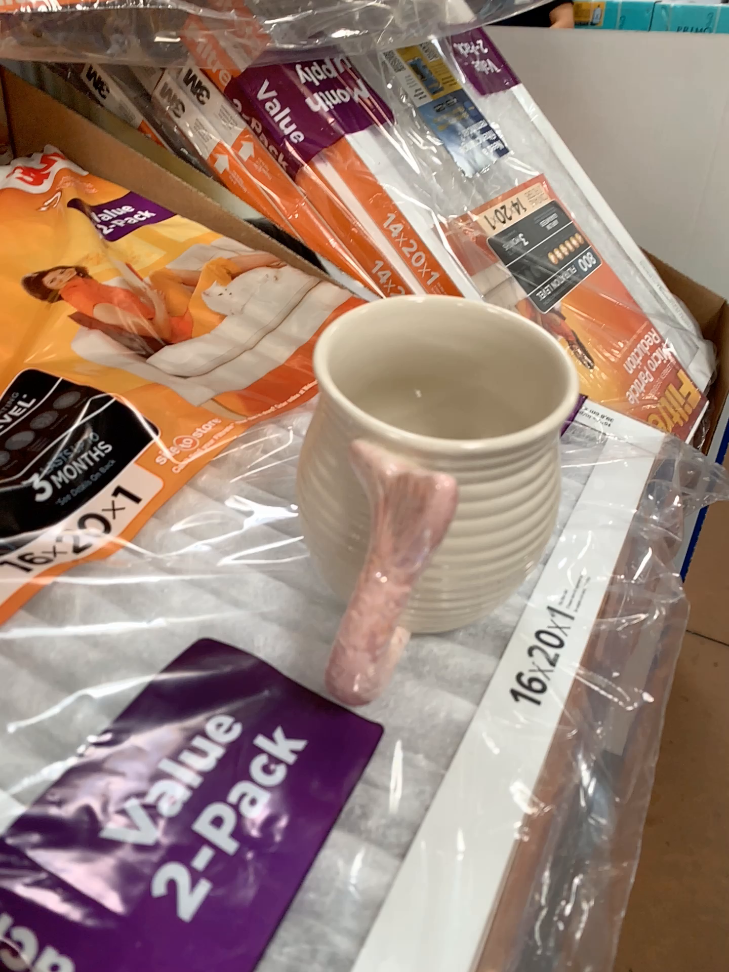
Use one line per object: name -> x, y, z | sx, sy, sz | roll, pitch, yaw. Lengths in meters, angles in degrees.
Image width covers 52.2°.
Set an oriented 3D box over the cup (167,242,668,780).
cup -> 0.022, -0.004, 0.257 | 0.100, 0.089, 0.141 | 25, 45, 19
